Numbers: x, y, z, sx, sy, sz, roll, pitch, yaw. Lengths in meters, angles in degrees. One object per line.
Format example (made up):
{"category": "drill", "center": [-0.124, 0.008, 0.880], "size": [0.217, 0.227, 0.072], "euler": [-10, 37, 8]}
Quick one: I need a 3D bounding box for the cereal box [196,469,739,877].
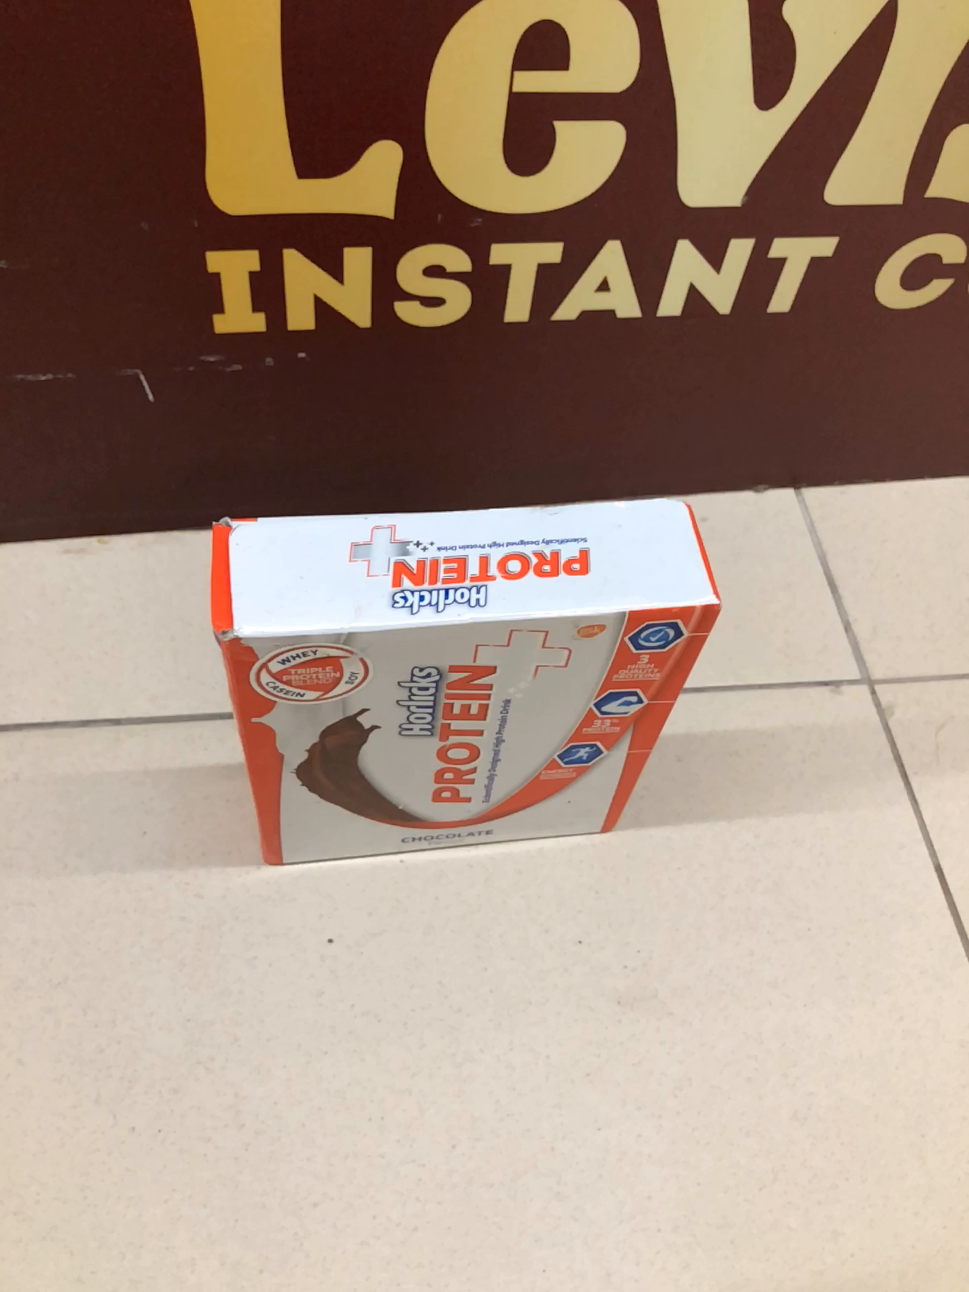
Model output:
{"category": "cereal box", "center": [-0.012, 0.016, 0.349], "size": [0.140, 0.149, 0.050], "euler": [-4, 57, -10]}
